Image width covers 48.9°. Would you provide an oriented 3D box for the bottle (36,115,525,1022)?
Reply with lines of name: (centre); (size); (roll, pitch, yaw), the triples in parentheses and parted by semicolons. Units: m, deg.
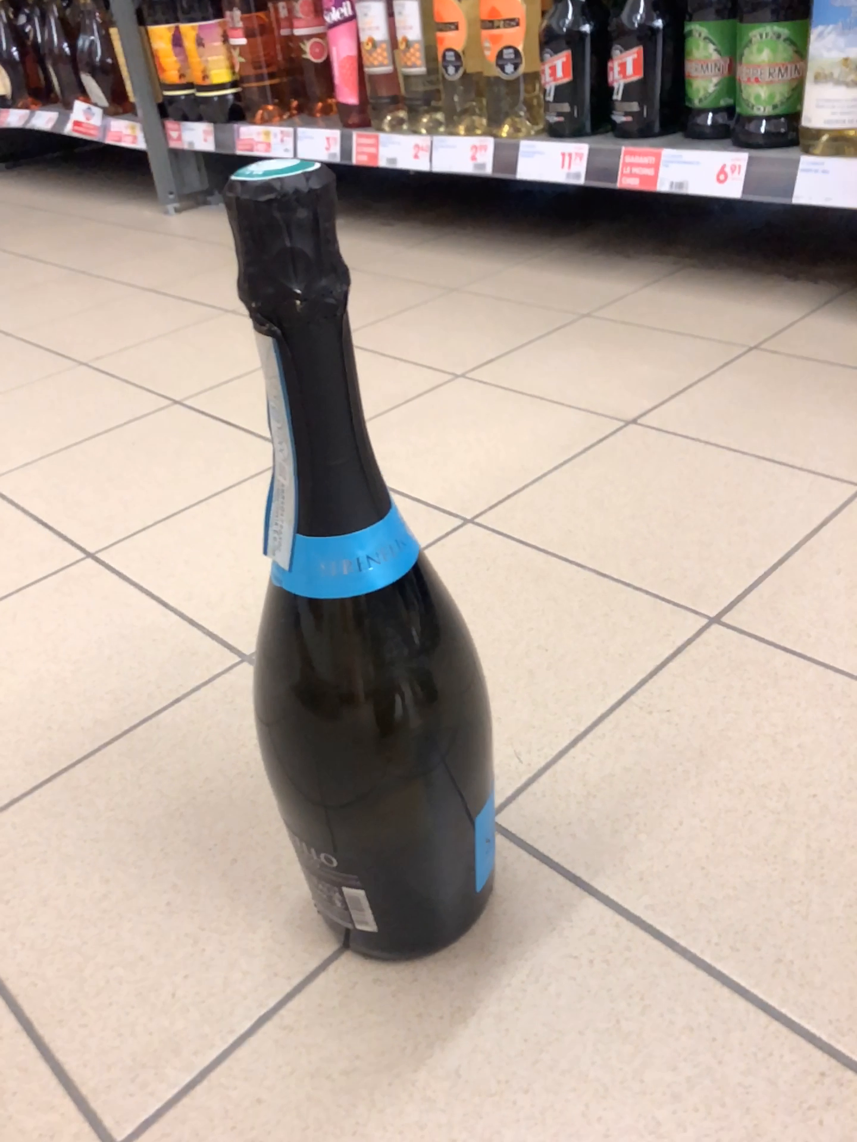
bottle: (-0.038, 0.011, 0.336); (0.090, 0.298, 0.100); (-20, 35, -20)
